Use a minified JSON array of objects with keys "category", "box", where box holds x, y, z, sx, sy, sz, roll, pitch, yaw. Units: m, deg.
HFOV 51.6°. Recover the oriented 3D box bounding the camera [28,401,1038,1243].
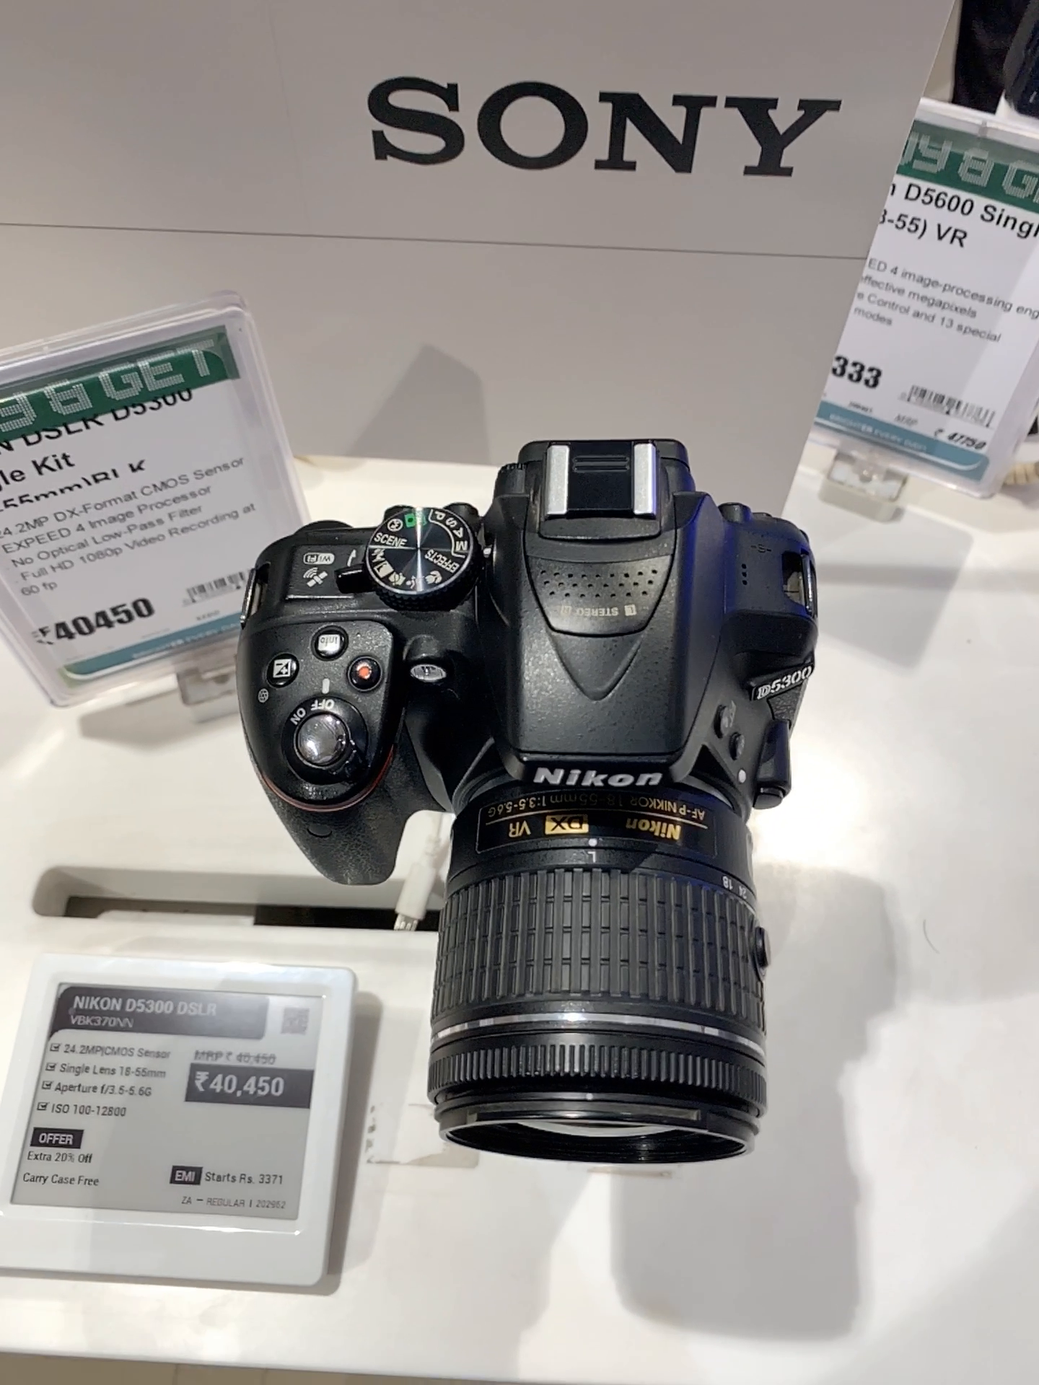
[{"category":"camera","box":[0.006,0.020,0.192,0.130,0.070,0.130,-1,57,-1]}]
